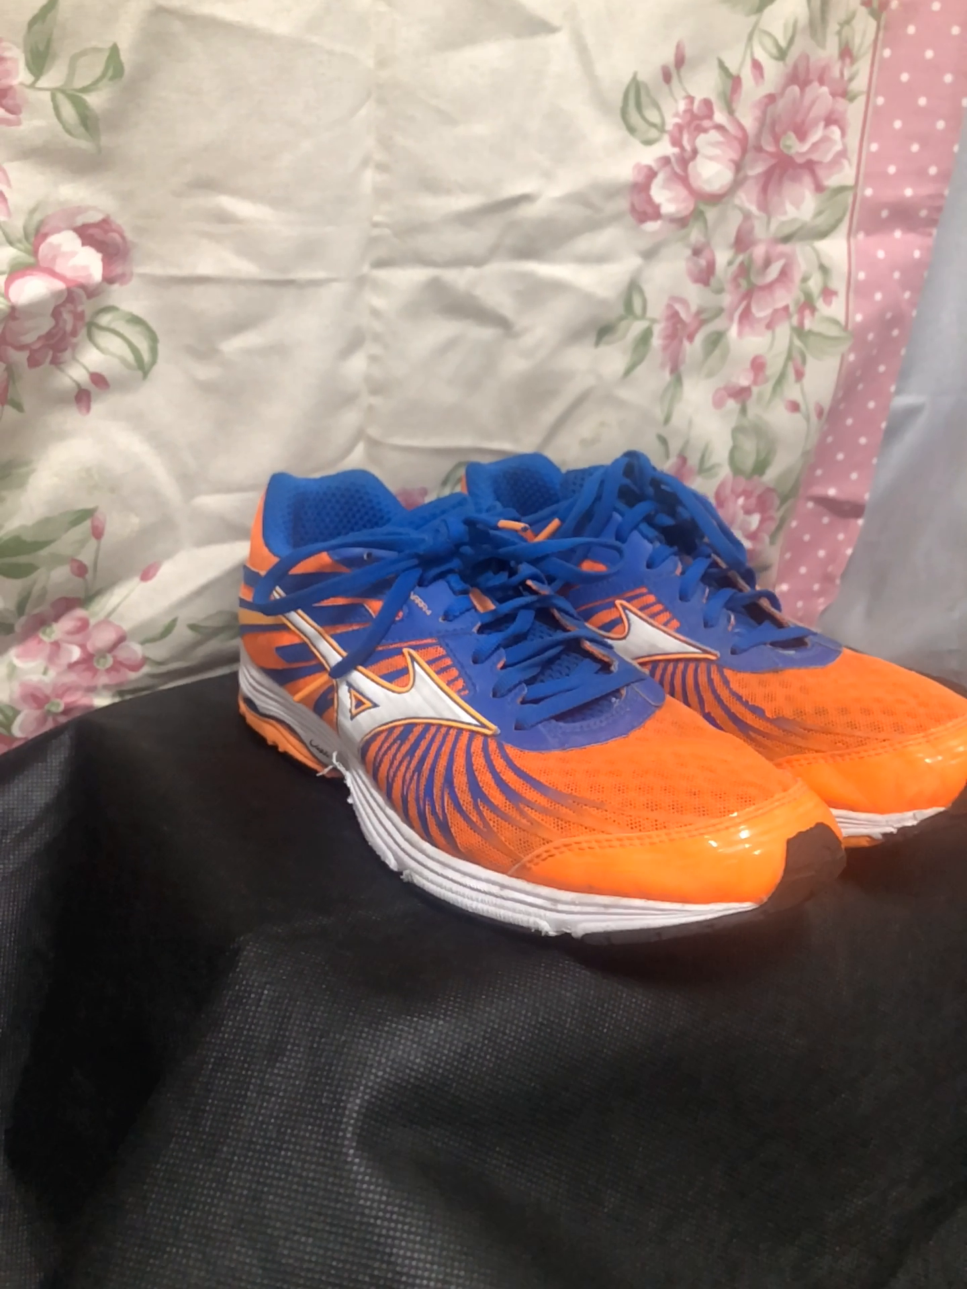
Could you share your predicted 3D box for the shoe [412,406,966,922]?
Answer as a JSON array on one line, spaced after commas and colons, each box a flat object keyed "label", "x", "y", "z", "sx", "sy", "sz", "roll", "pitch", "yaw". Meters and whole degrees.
[{"label": "shoe", "x": 0.083, "y": -0.016, "z": 0.397, "sx": 0.110, "sy": 0.109, "sz": 0.221, "roll": -14, "pitch": 25, "yaw": -37}]

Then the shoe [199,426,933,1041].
[{"label": "shoe", "x": 0.008, "y": 0.002, "z": 0.354, "sx": 0.110, "sy": 0.109, "sz": 0.221, "roll": -14, "pitch": 25, "yaw": -37}]
